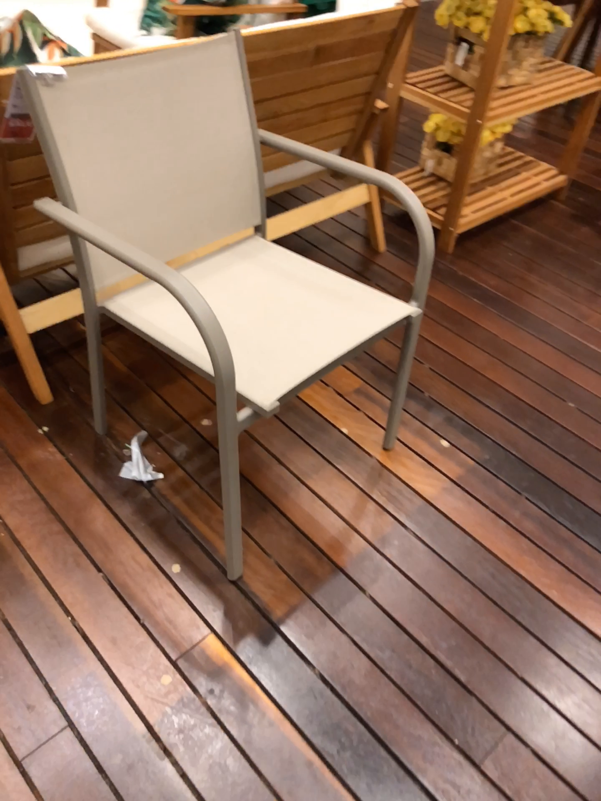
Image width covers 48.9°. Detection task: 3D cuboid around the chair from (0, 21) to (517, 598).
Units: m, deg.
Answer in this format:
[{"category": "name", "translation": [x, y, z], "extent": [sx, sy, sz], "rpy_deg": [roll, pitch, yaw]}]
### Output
[{"category": "chair", "translation": [-0.107, -0.205, 1.335], "extent": [0.612, 0.794, 0.623], "rpy_deg": [37, 51, 28]}]
